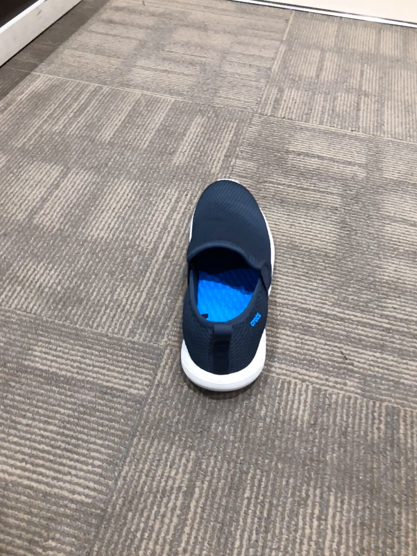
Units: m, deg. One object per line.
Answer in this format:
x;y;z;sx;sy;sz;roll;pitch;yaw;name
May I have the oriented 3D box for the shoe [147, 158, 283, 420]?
0.017;0.000;0.522;0.110;0.119;0.271;7;50;3;shoe
